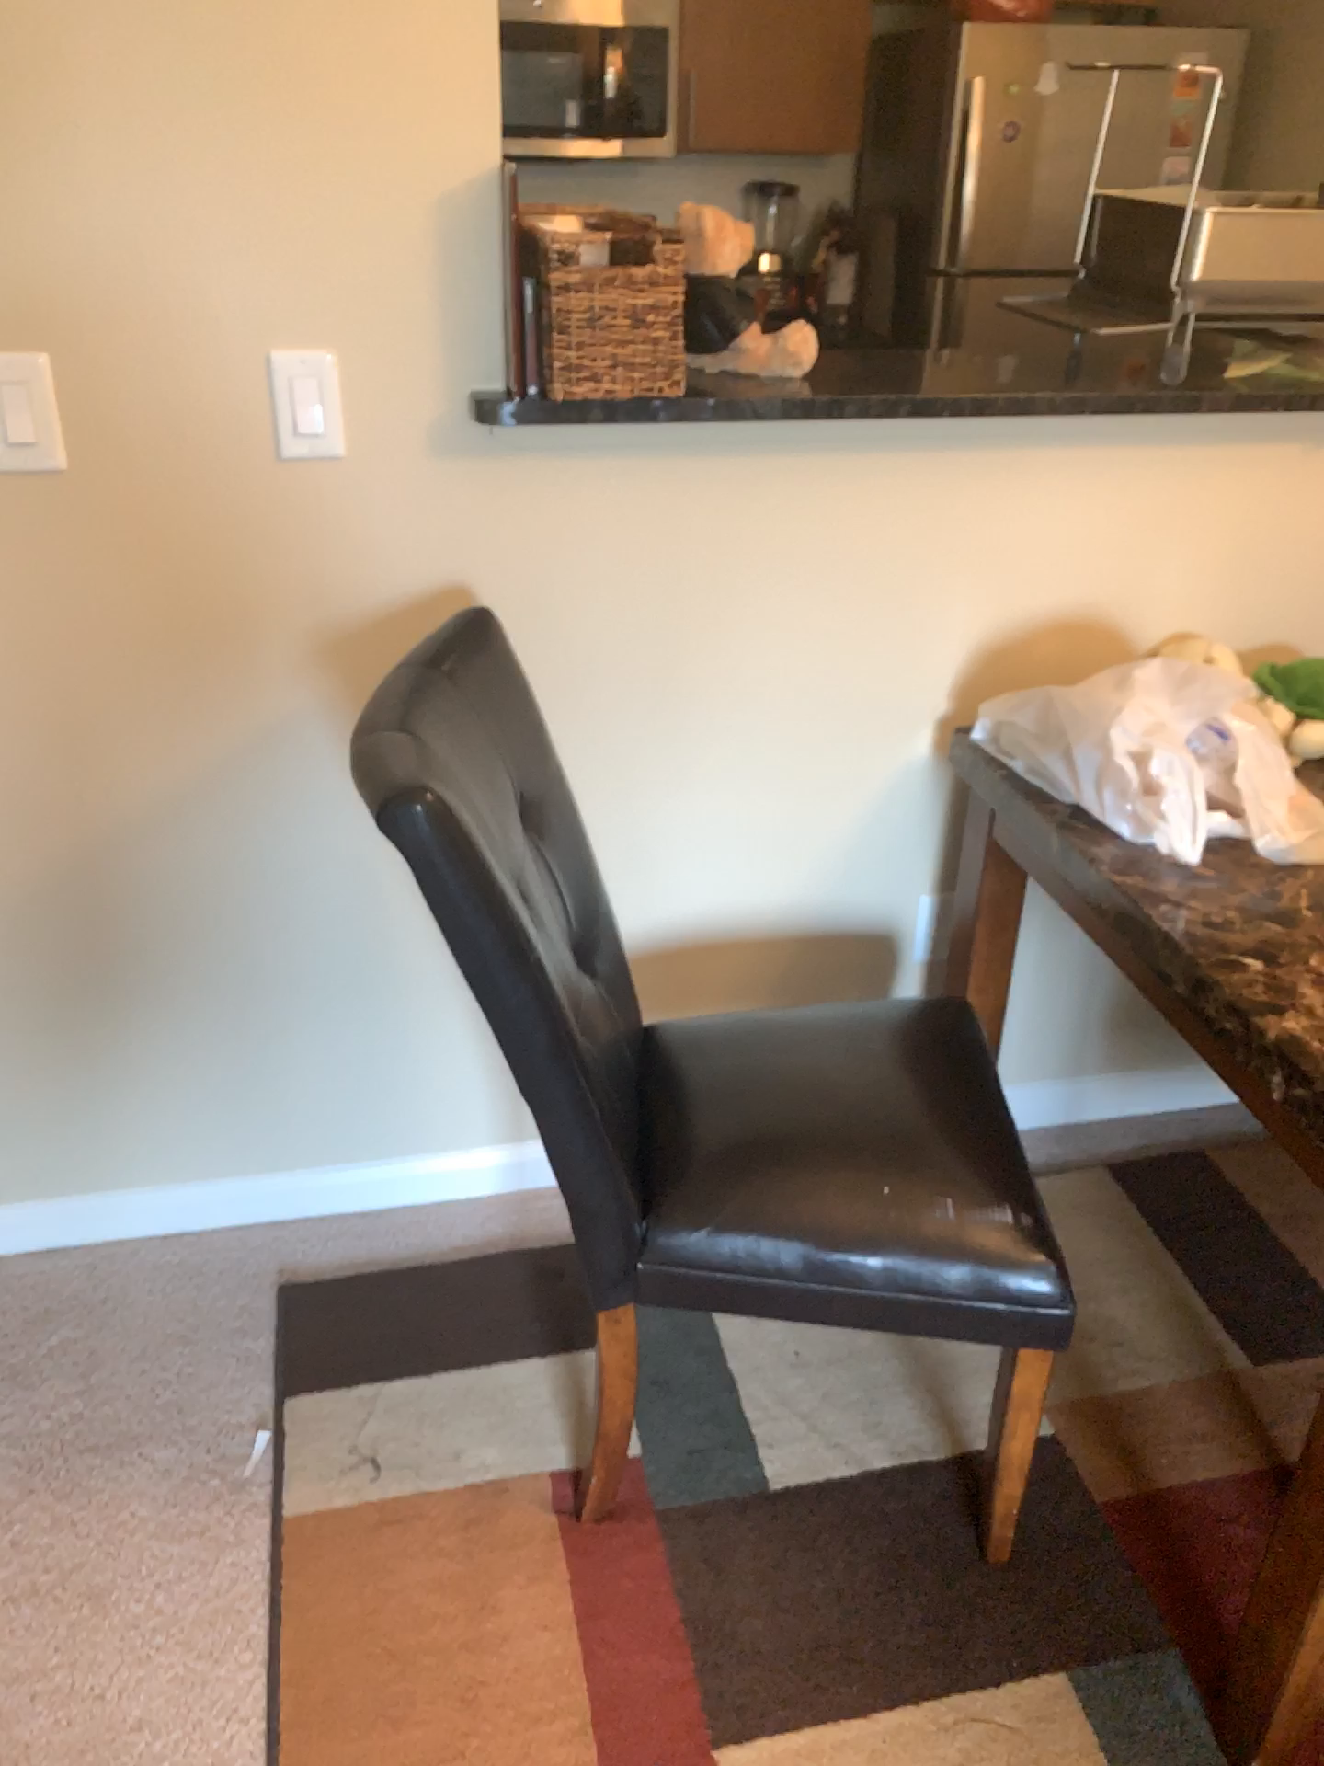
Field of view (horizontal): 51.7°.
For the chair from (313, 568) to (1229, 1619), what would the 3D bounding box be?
[{"bbox_3d":[0.050,0.193,1.654,0.730,0.925,0.815,-1,29,-5],"label":"chair"}]
